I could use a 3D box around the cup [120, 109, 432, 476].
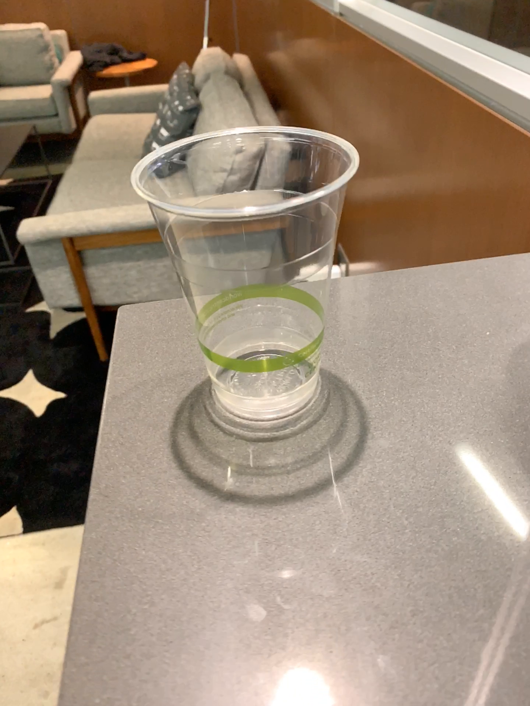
[{"bbox_3d":[-0.001,-0.032,0.256,0.100,0.119,0.101,-2,39,2],"label":"cup"}]
